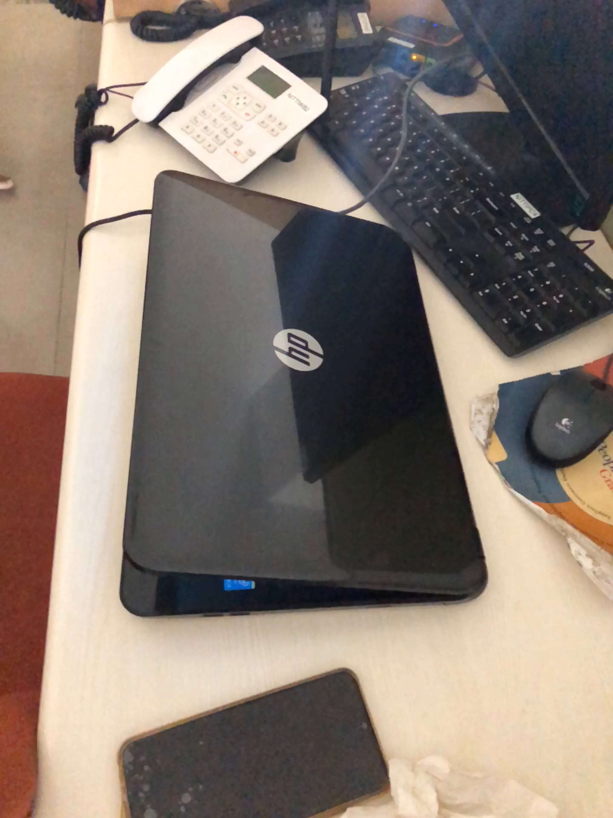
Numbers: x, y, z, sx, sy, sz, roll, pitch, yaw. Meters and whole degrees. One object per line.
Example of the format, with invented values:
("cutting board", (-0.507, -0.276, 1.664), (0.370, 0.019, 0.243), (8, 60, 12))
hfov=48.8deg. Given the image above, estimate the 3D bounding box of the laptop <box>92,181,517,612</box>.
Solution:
("laptop", (-0.013, -0.033, 0.519), (0.245, 0.072, 0.352), (-1, 55, -5))
